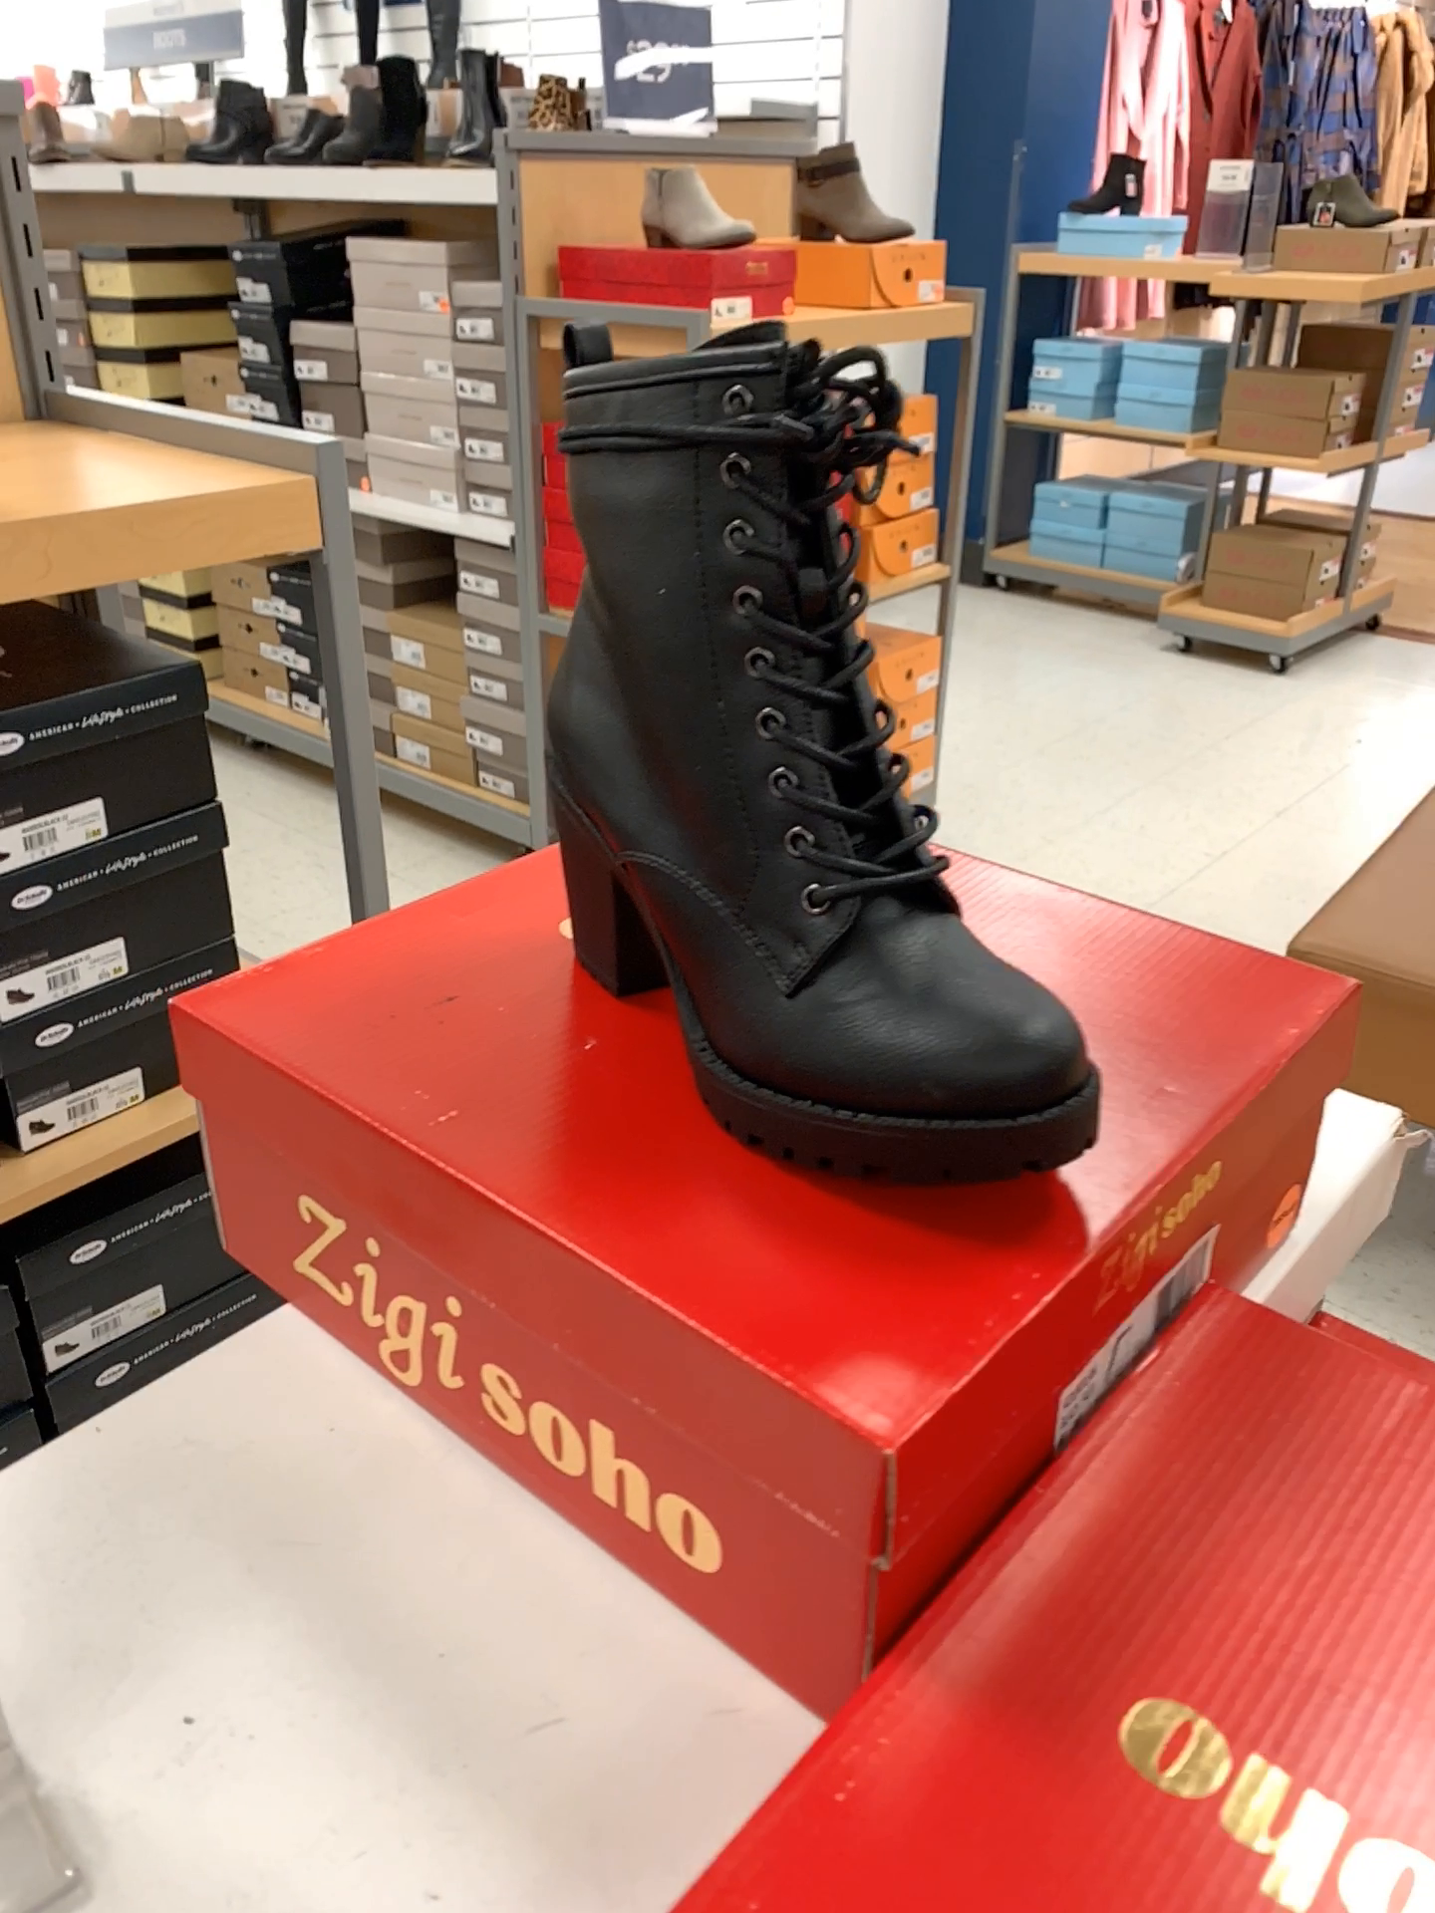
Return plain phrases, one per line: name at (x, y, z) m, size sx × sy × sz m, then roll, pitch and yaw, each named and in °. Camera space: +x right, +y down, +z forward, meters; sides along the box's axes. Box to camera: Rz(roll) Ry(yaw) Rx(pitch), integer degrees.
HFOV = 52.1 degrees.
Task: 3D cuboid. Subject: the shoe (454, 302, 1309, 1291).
shoe at (0.025, -0.060, 0.401) m, size 0.092 × 0.203 × 0.201 m, roll -19°, pitch 33°, yaw -34°
